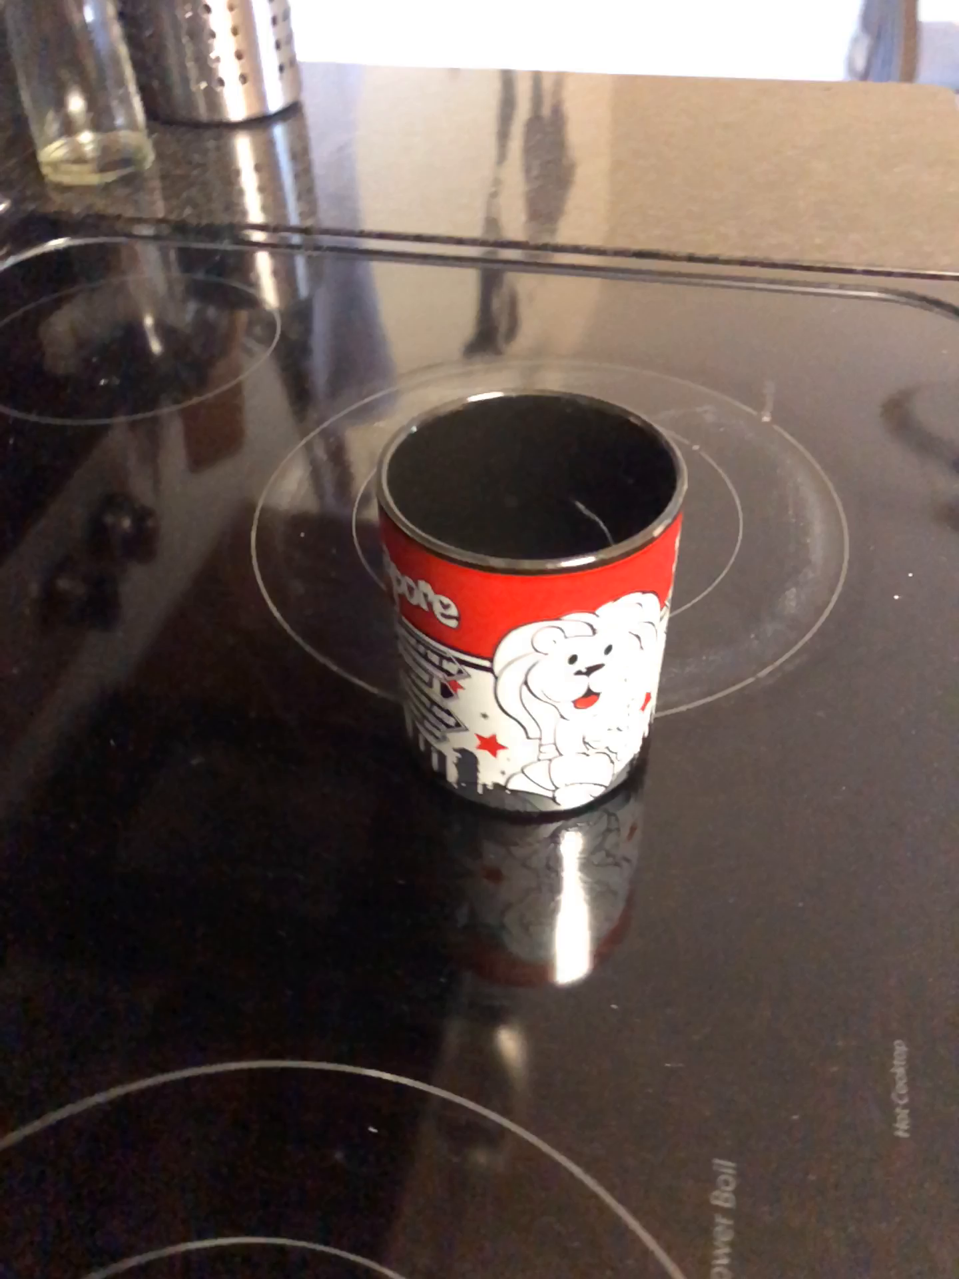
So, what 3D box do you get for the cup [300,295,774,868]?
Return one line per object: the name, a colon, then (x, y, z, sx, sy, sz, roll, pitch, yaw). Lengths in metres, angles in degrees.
cup: (0.007, -0.023, 0.309, 0.090, 0.090, 0.131, -11, 44, -9)
